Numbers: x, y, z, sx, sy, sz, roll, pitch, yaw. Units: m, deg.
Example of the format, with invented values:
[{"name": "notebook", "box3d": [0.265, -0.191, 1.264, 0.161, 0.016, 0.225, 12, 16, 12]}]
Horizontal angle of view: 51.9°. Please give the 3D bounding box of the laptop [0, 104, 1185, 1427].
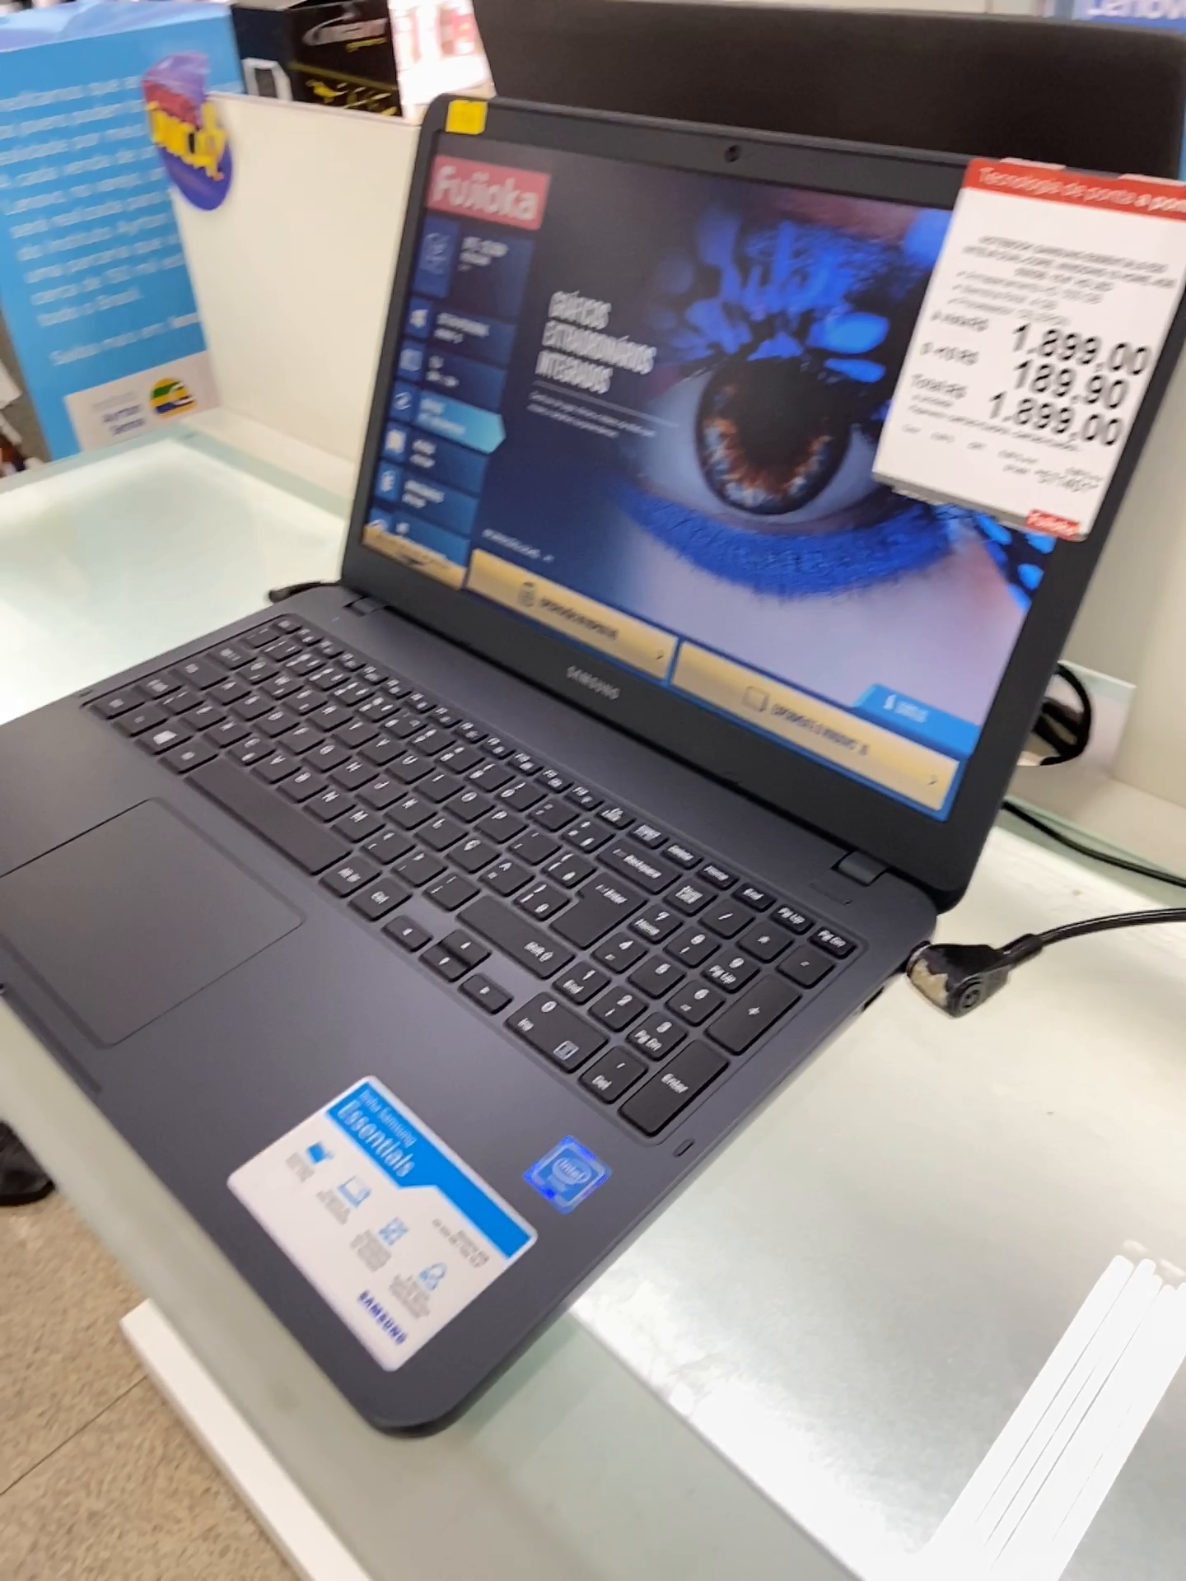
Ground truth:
[{"name": "laptop", "box3d": [-0.061, -0.085, 0.431, 0.367, 0.207, 0.347, 29, 48, 36]}]
